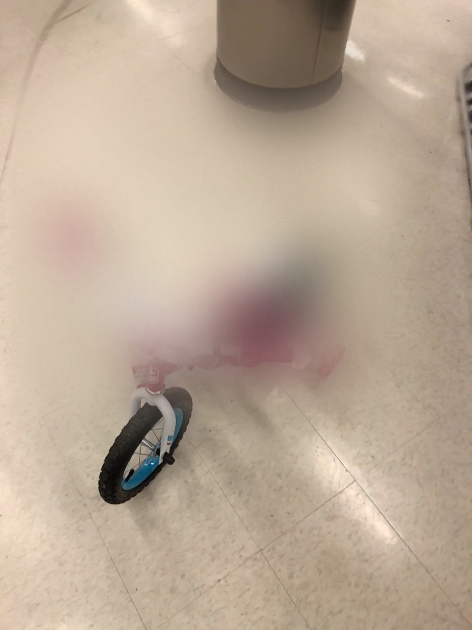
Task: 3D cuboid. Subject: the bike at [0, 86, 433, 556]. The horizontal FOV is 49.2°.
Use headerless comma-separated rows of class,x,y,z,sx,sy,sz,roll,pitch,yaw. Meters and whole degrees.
bike,-0.054,0.004,1.170,0.462,0.625,0.817,35,59,19
